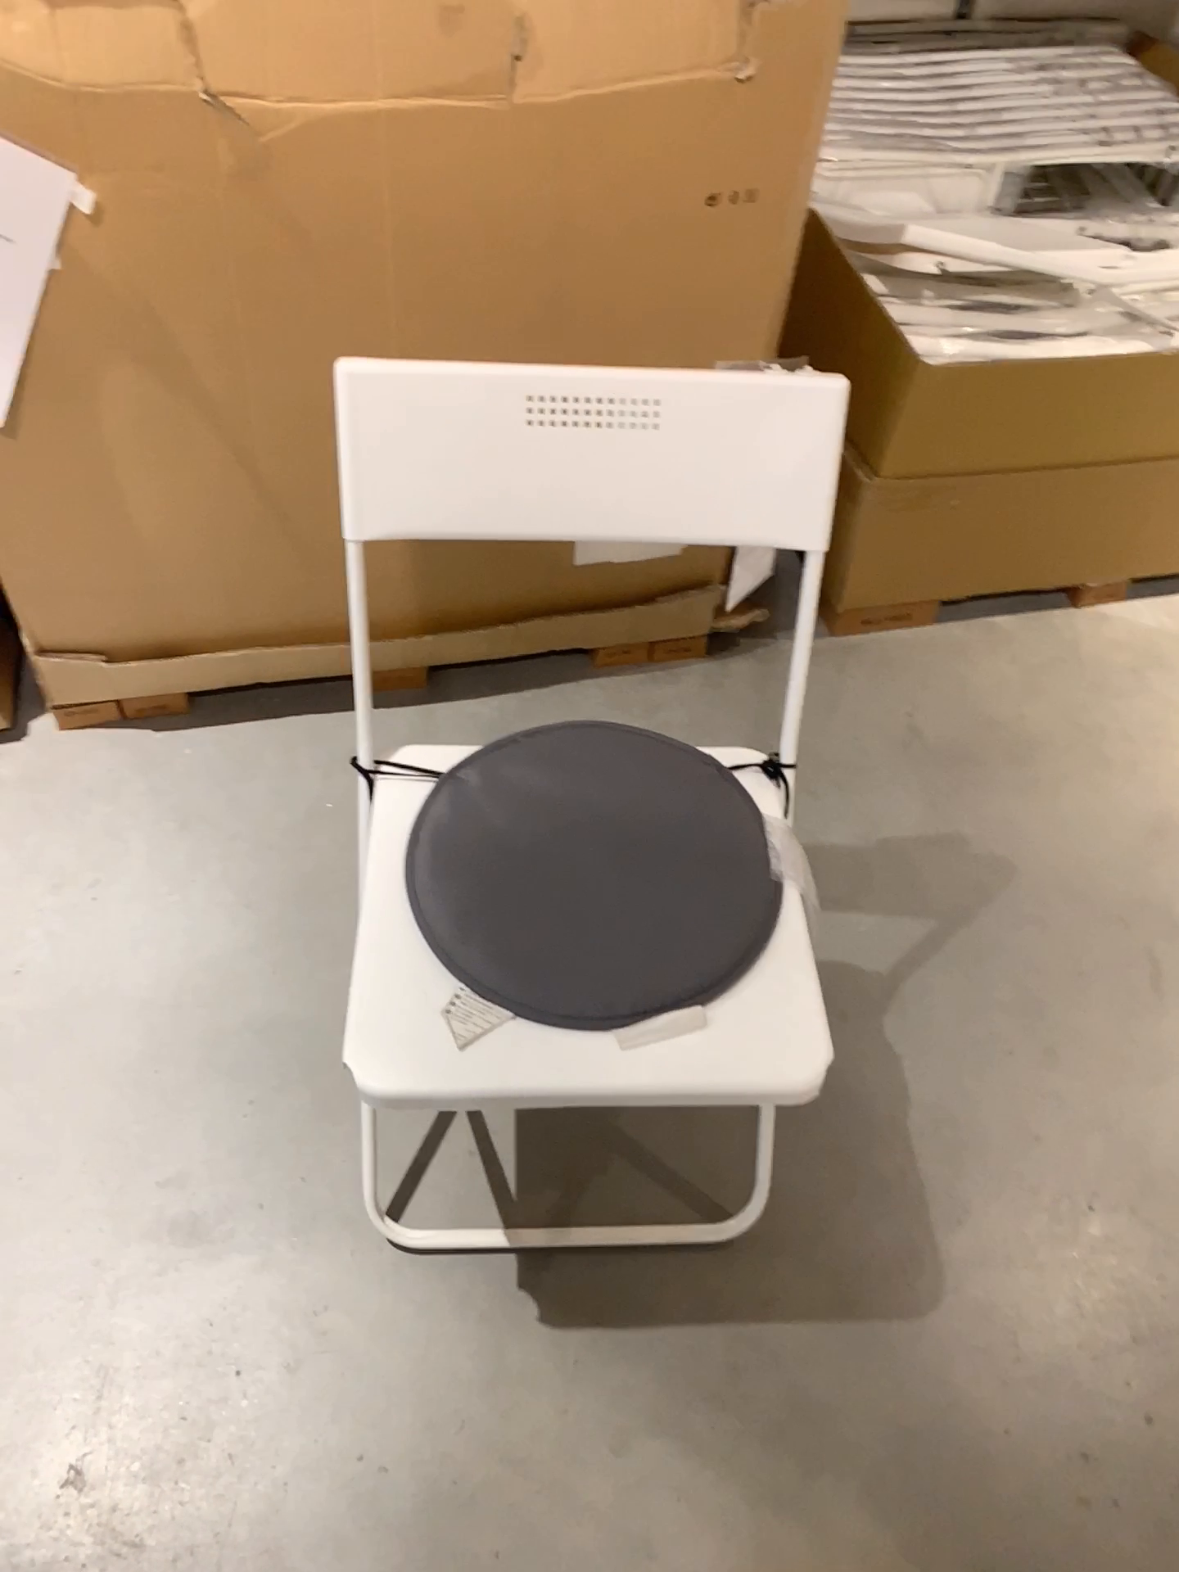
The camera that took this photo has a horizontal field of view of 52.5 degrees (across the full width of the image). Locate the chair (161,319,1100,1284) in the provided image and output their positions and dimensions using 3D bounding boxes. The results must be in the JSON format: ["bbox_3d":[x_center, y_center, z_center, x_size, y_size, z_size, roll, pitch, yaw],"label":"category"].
[{"bbox_3d":[-0.005,0.070,1.057,0.490,0.738,0.482,1,50,-4],"label":"chair"}]
